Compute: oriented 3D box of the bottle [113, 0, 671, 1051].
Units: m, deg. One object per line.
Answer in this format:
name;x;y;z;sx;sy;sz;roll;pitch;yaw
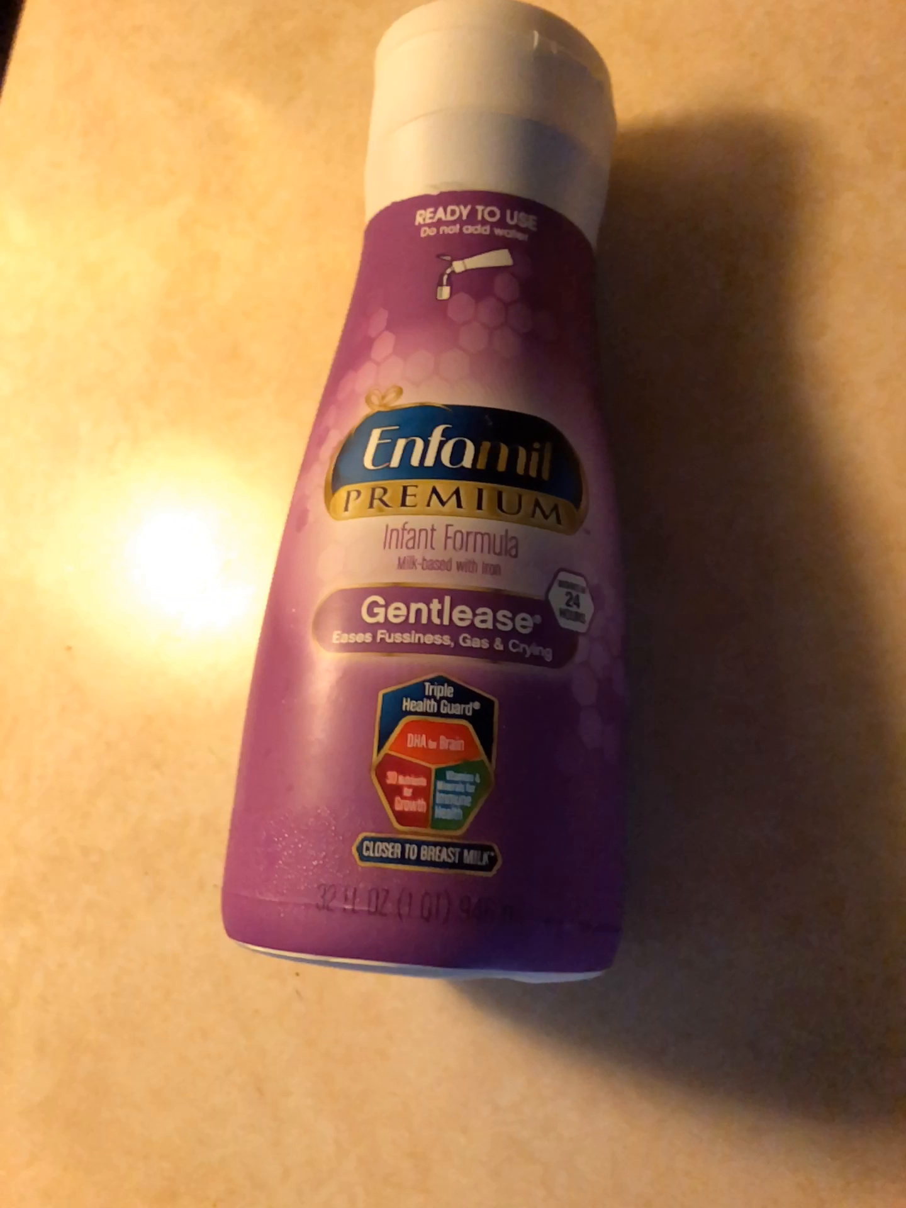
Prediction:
bottle;-0.001;-0.053;0.251;0.090;0.100;0.280;3;78;5
